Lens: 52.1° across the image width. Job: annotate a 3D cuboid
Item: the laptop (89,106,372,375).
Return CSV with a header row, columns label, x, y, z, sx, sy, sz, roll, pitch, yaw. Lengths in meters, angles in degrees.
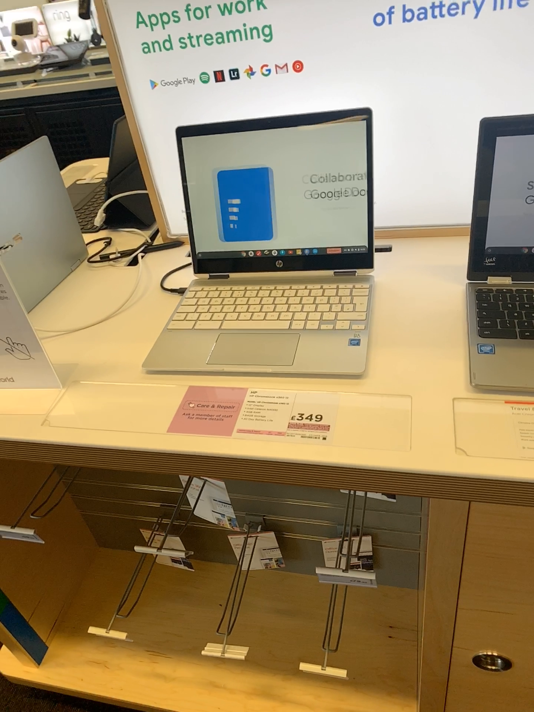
label,x,y,z,sx,sy,sz,roll,pitch,yaw
laptop,-0.013,-0.145,0.665,0.258,0.190,0.271,1,40,15
